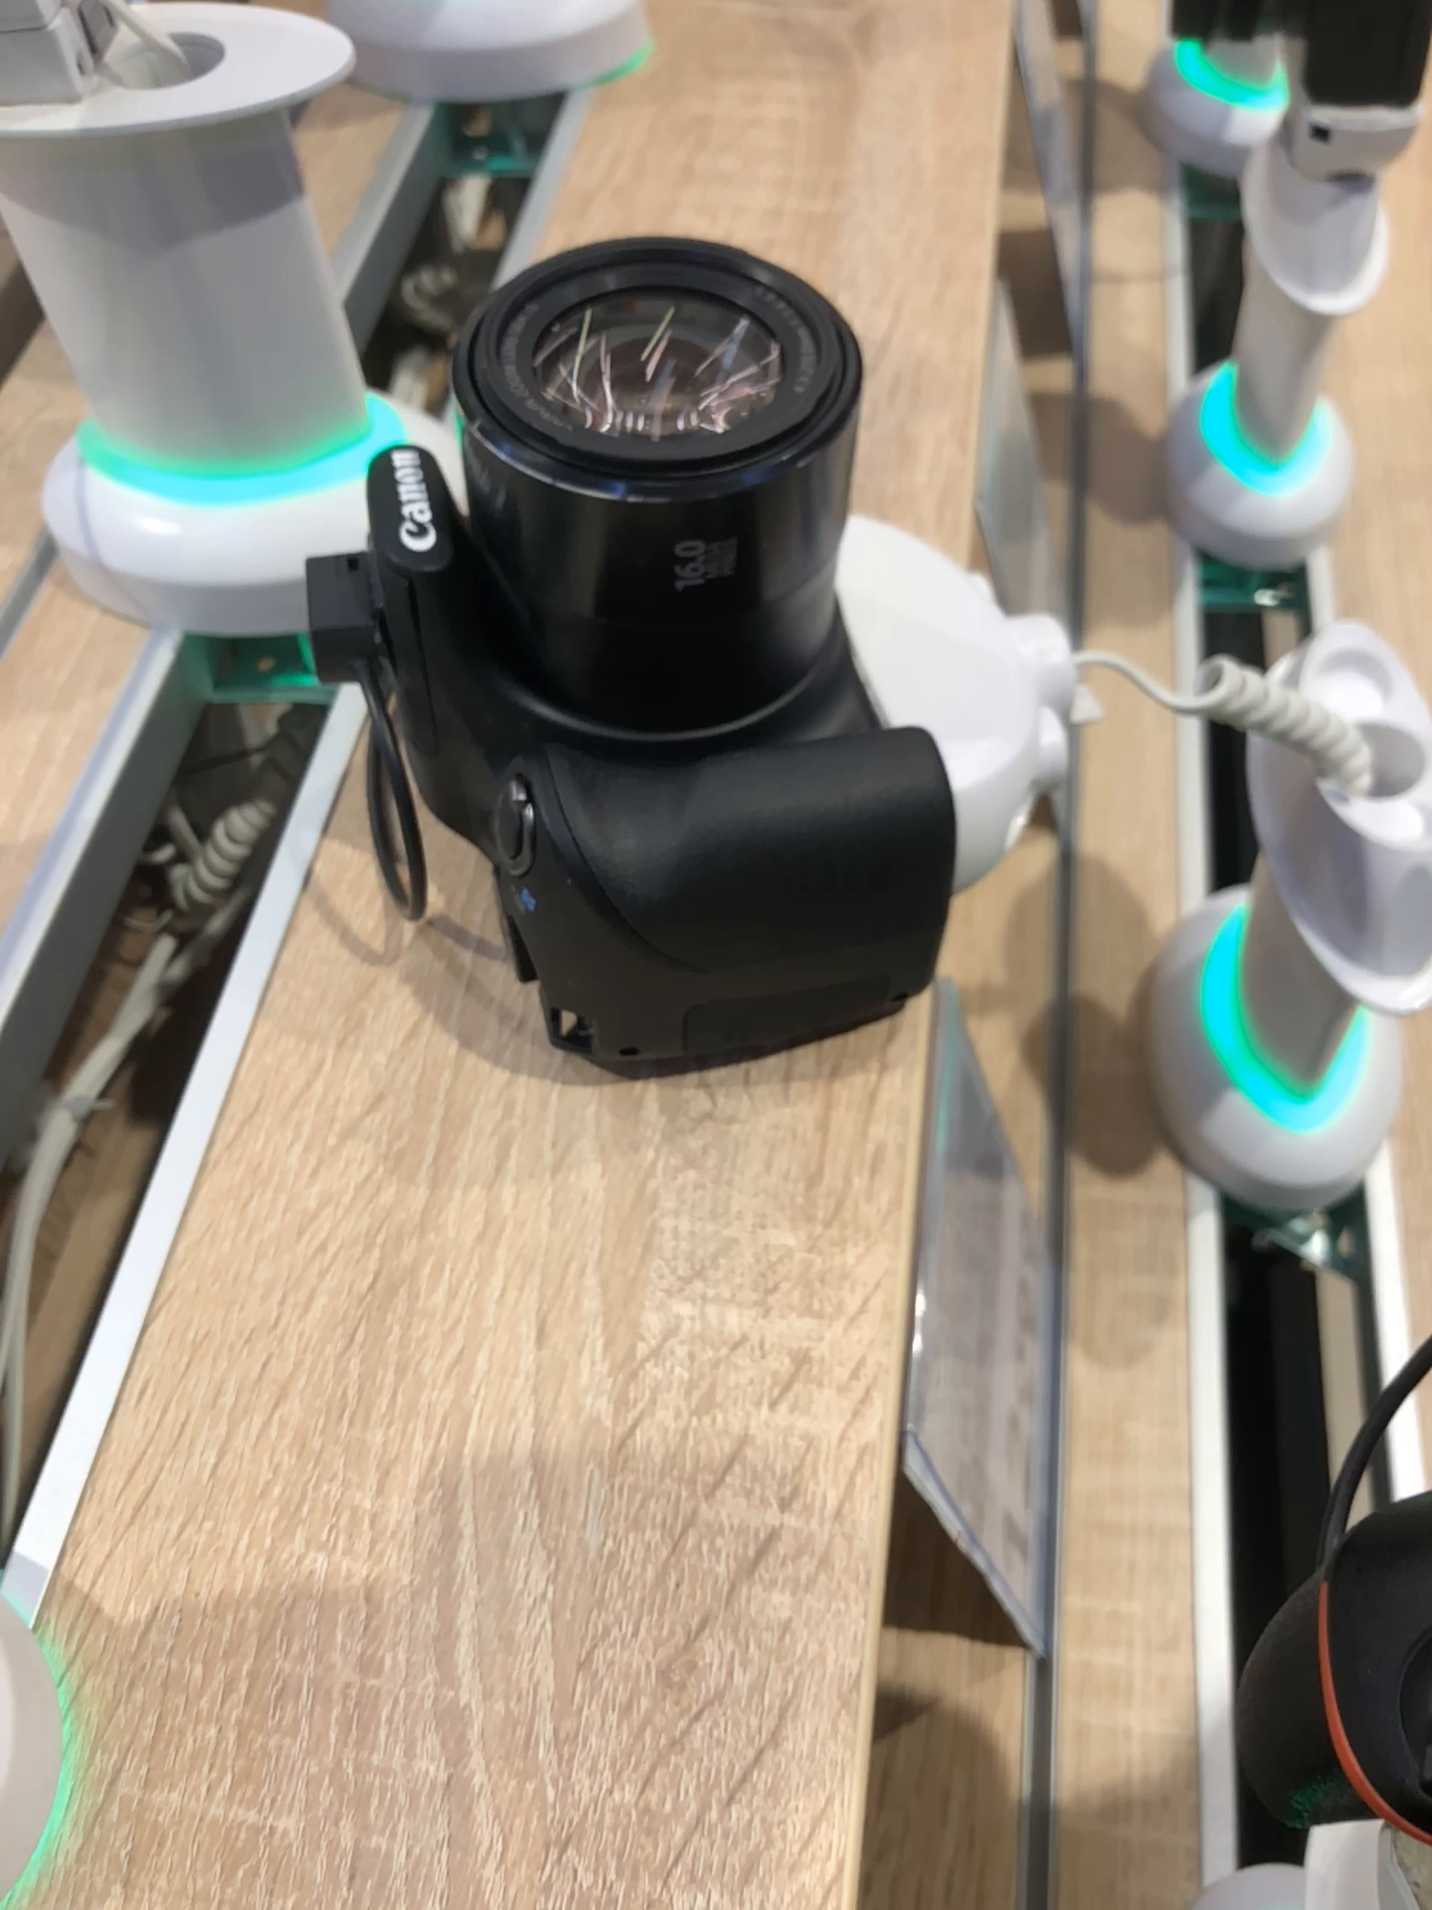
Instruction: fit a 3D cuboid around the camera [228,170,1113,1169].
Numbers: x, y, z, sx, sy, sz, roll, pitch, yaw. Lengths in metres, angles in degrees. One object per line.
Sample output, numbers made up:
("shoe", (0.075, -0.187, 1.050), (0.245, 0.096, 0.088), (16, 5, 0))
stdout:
("camera", (-0.017, -0.053, 0.278), (0.106, 0.090, 0.134), (-10, 55, -10))
